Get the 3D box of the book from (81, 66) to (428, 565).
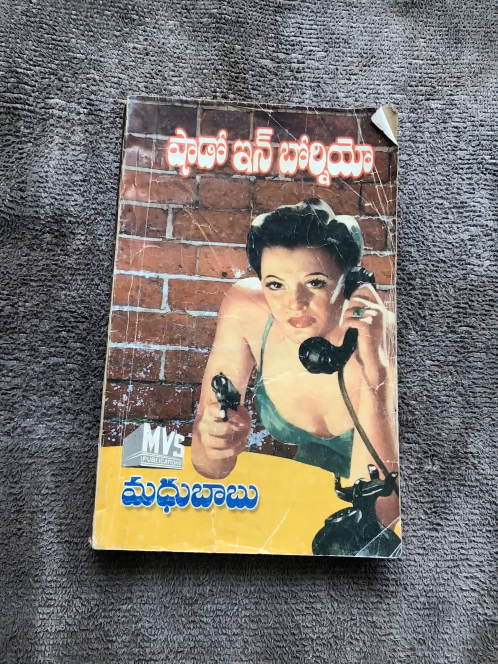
[{"bbox_3d":[0.005,-0.006,0.191,0.100,0.040,0.150,3,81,-5],"label":"book"}]
